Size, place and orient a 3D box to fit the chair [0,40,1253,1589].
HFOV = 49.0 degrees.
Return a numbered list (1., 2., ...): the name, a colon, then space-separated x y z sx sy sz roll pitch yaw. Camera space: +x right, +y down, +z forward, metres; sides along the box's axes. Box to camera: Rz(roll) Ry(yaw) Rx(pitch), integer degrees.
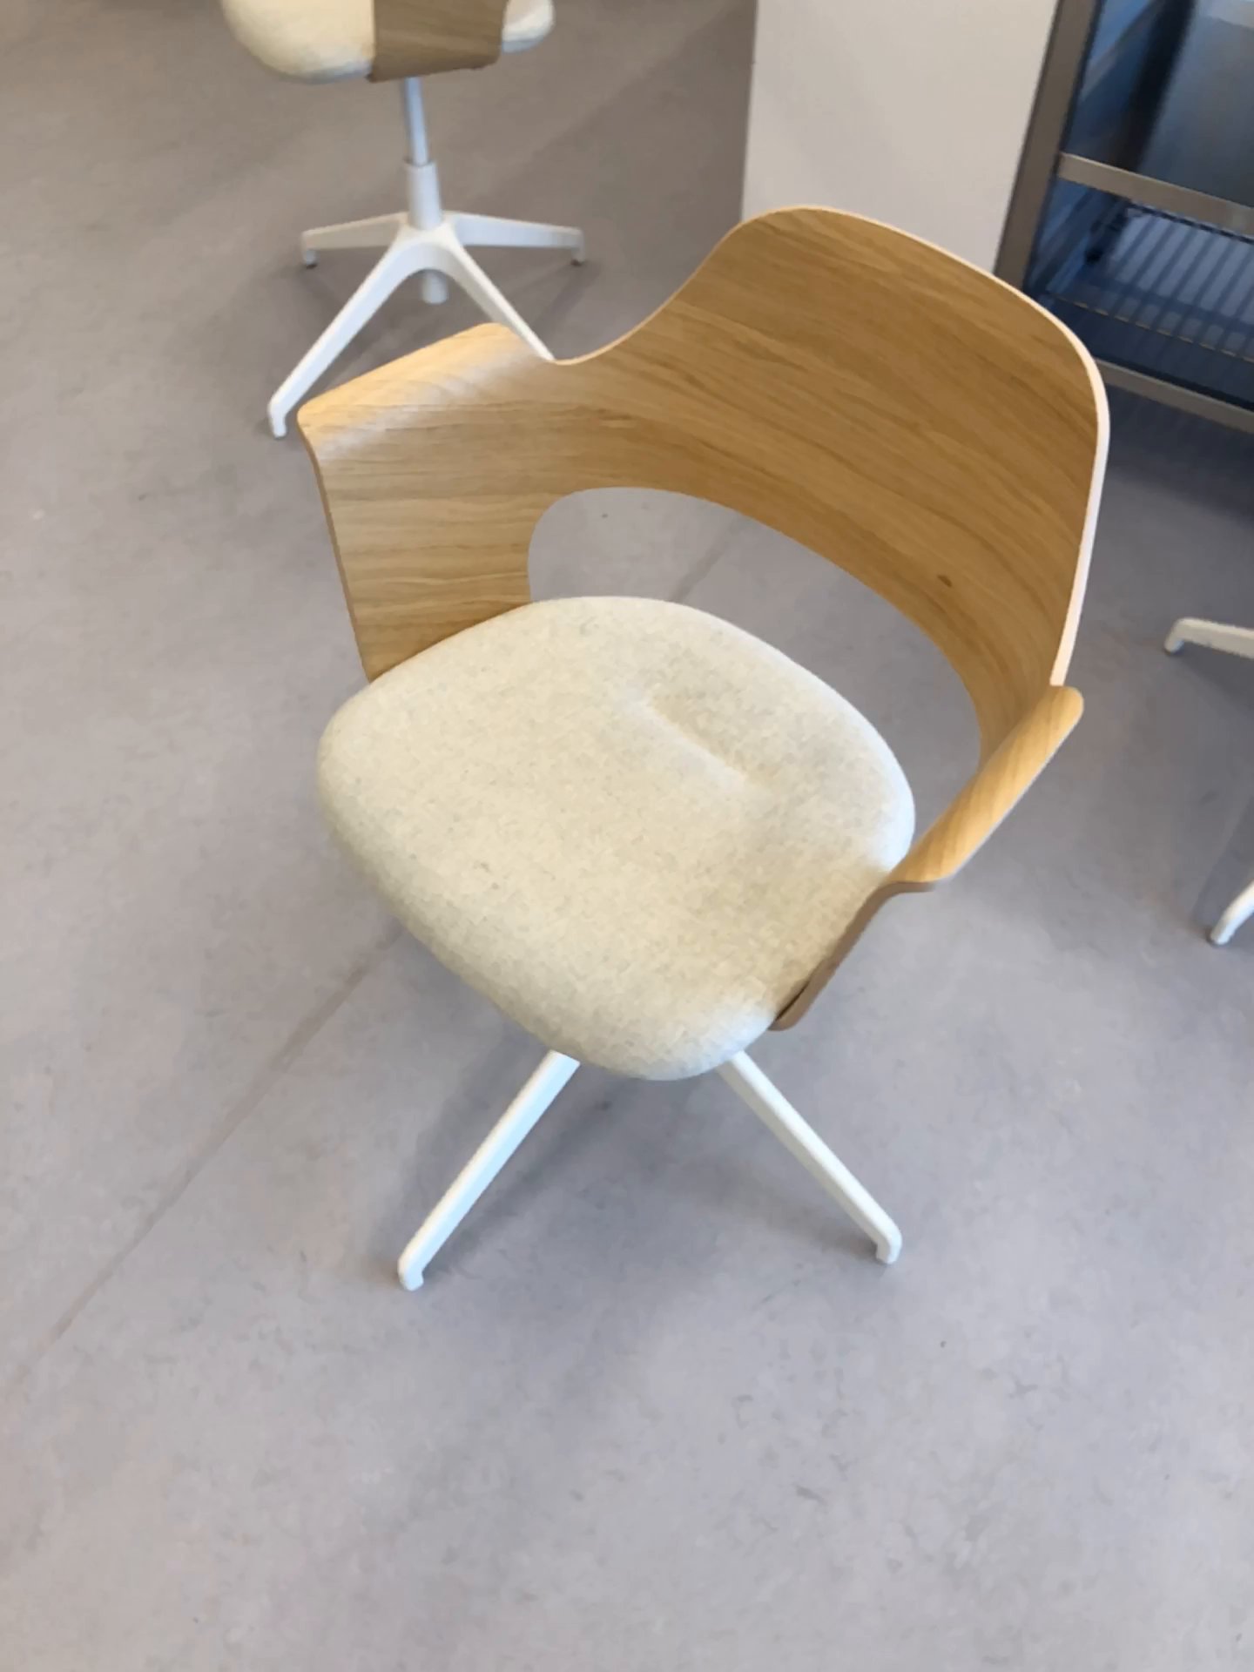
1. chair: -0.014 -0.006 1.099 0.661 0.776 0.713 -29 59 -21
